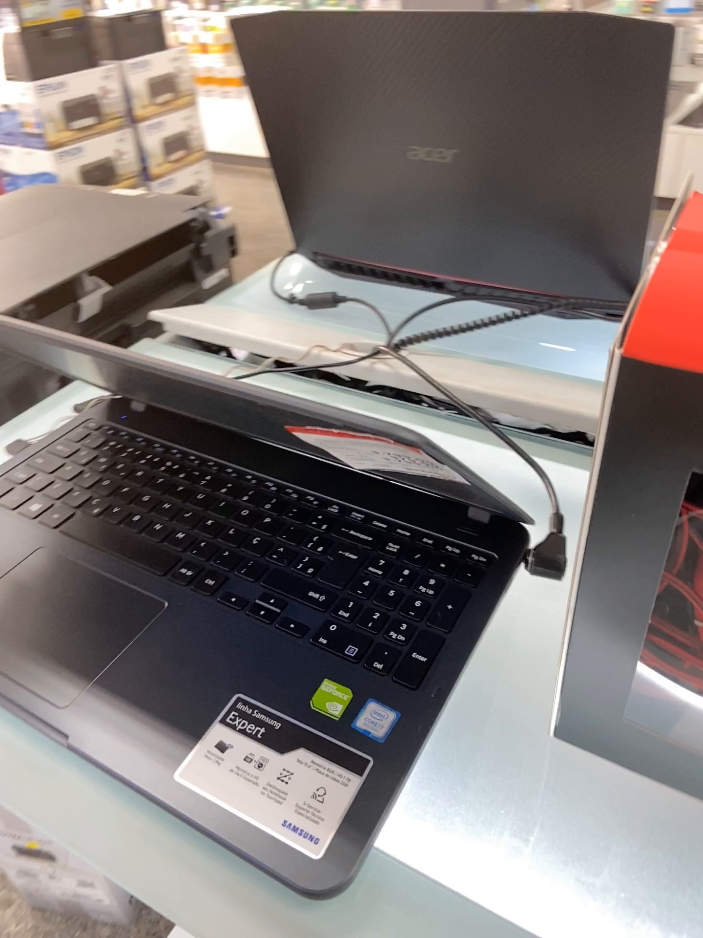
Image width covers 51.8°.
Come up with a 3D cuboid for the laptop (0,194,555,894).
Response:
[{"bbox_3d":[-0.115,-0.013,0.402,0.372,0.170,0.238,17,42,26],"label":"laptop"}]
